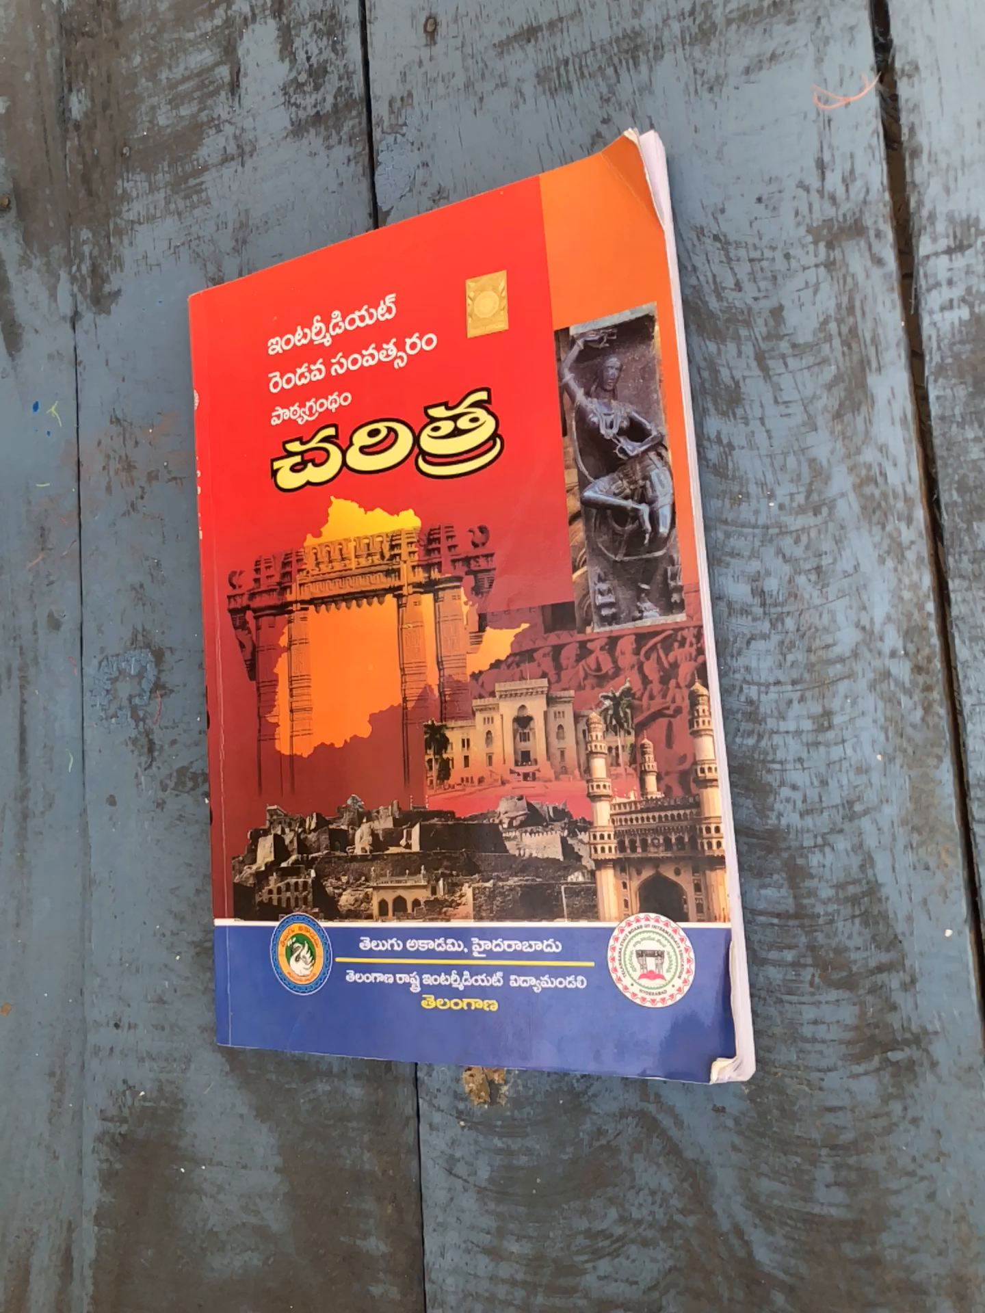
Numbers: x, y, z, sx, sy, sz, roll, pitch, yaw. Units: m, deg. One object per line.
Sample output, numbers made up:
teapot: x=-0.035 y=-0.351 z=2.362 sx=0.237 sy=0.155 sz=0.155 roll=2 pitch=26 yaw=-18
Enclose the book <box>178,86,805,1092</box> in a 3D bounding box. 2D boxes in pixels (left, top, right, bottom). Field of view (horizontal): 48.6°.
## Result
book: x=-0.013 y=-0.015 z=0.347 sx=0.190 sy=0.040 sz=0.270 roll=-6 pitch=82 yaw=26
